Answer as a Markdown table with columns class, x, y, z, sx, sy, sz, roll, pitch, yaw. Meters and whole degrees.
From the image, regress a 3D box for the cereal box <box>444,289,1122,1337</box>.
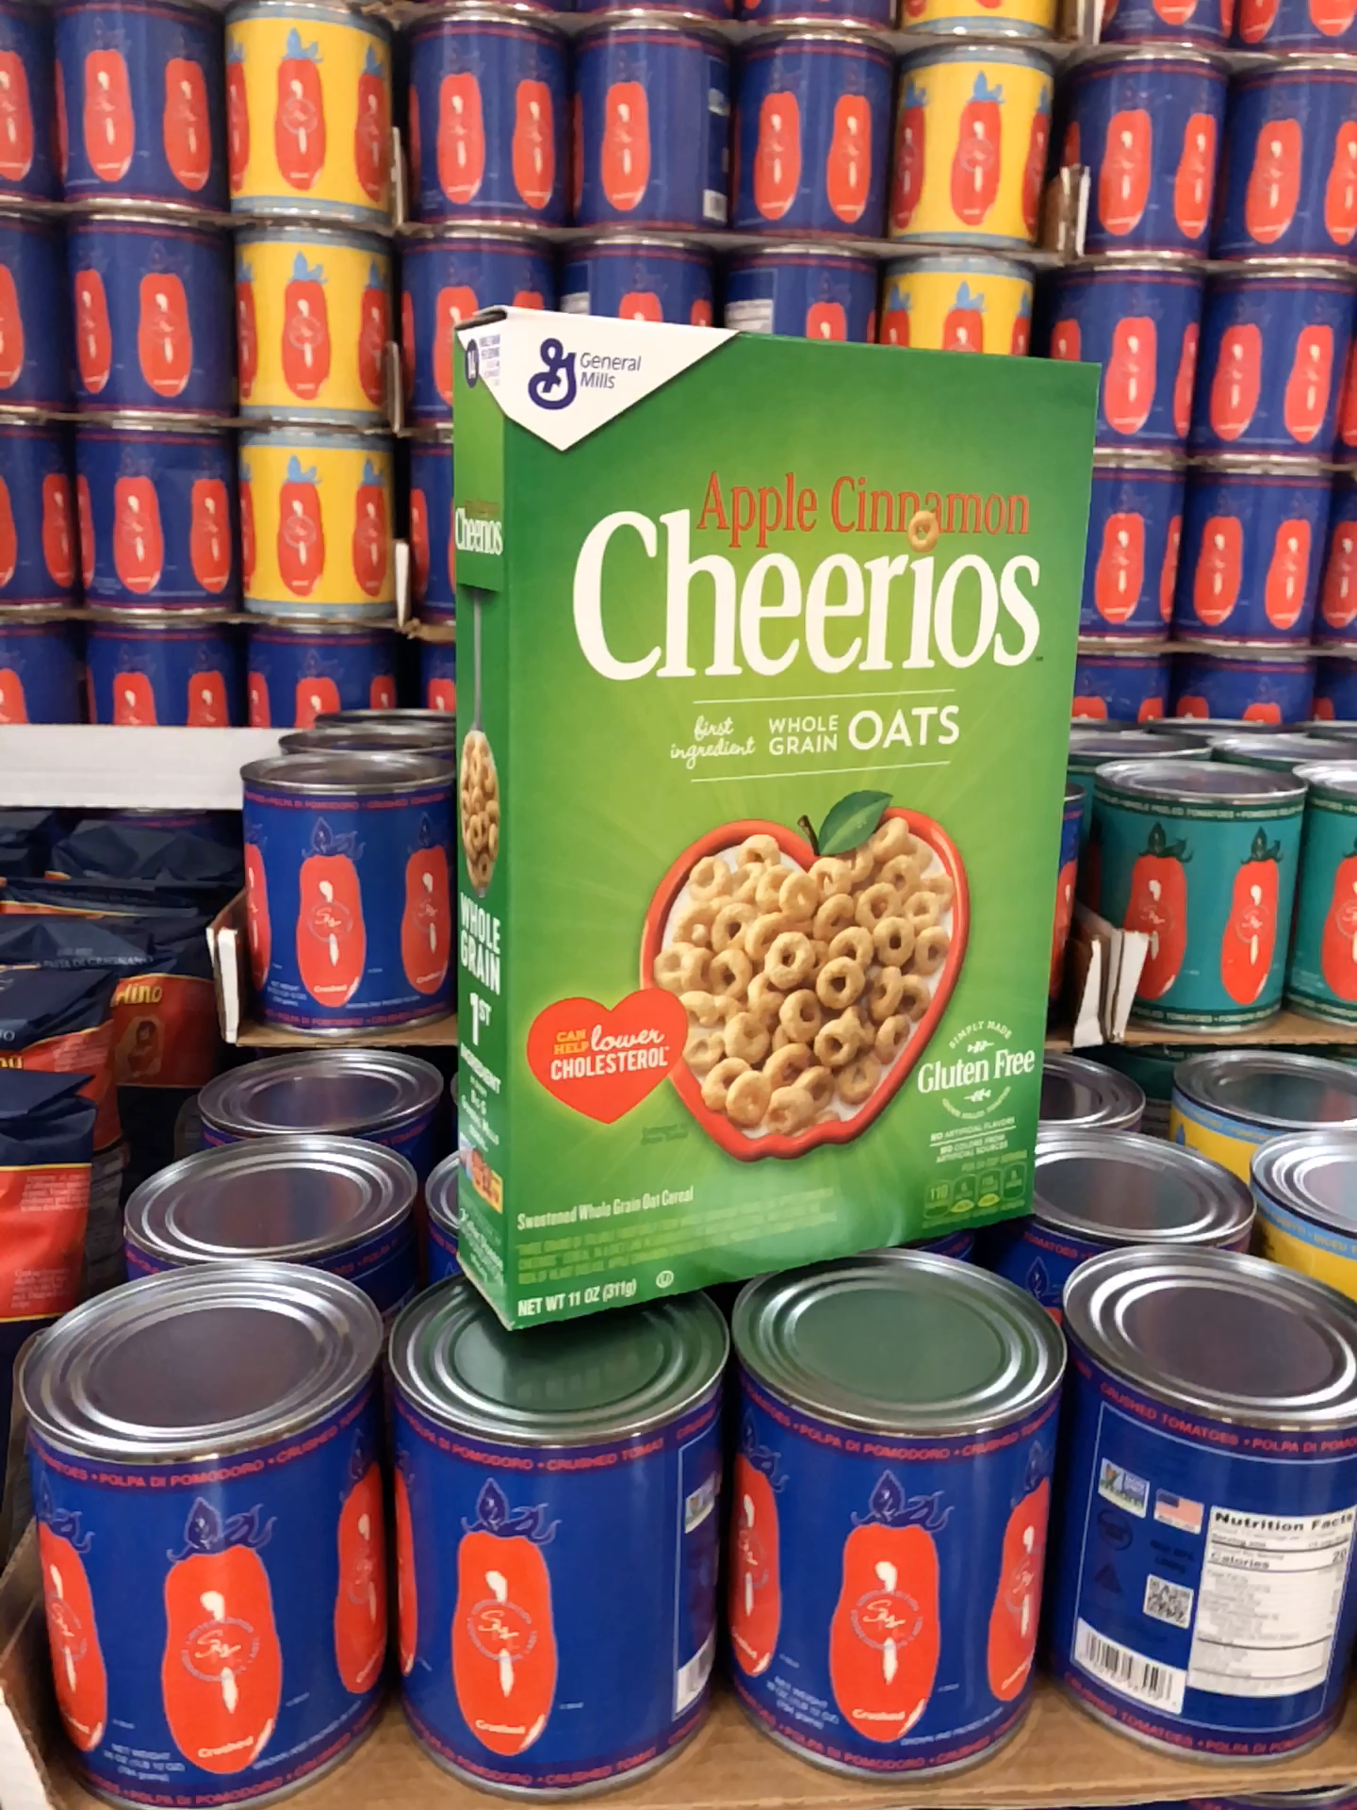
| class | x | y | z | sx | sy | sz | roll | pitch | yaw |
| --- | --- | --- | --- | --- | --- | --- | --- | --- | --- |
| cereal box | 0.031 | -0.027 | 0.471 | 0.200 | 0.289 | 0.050 | -5 | 15 | -26 |
